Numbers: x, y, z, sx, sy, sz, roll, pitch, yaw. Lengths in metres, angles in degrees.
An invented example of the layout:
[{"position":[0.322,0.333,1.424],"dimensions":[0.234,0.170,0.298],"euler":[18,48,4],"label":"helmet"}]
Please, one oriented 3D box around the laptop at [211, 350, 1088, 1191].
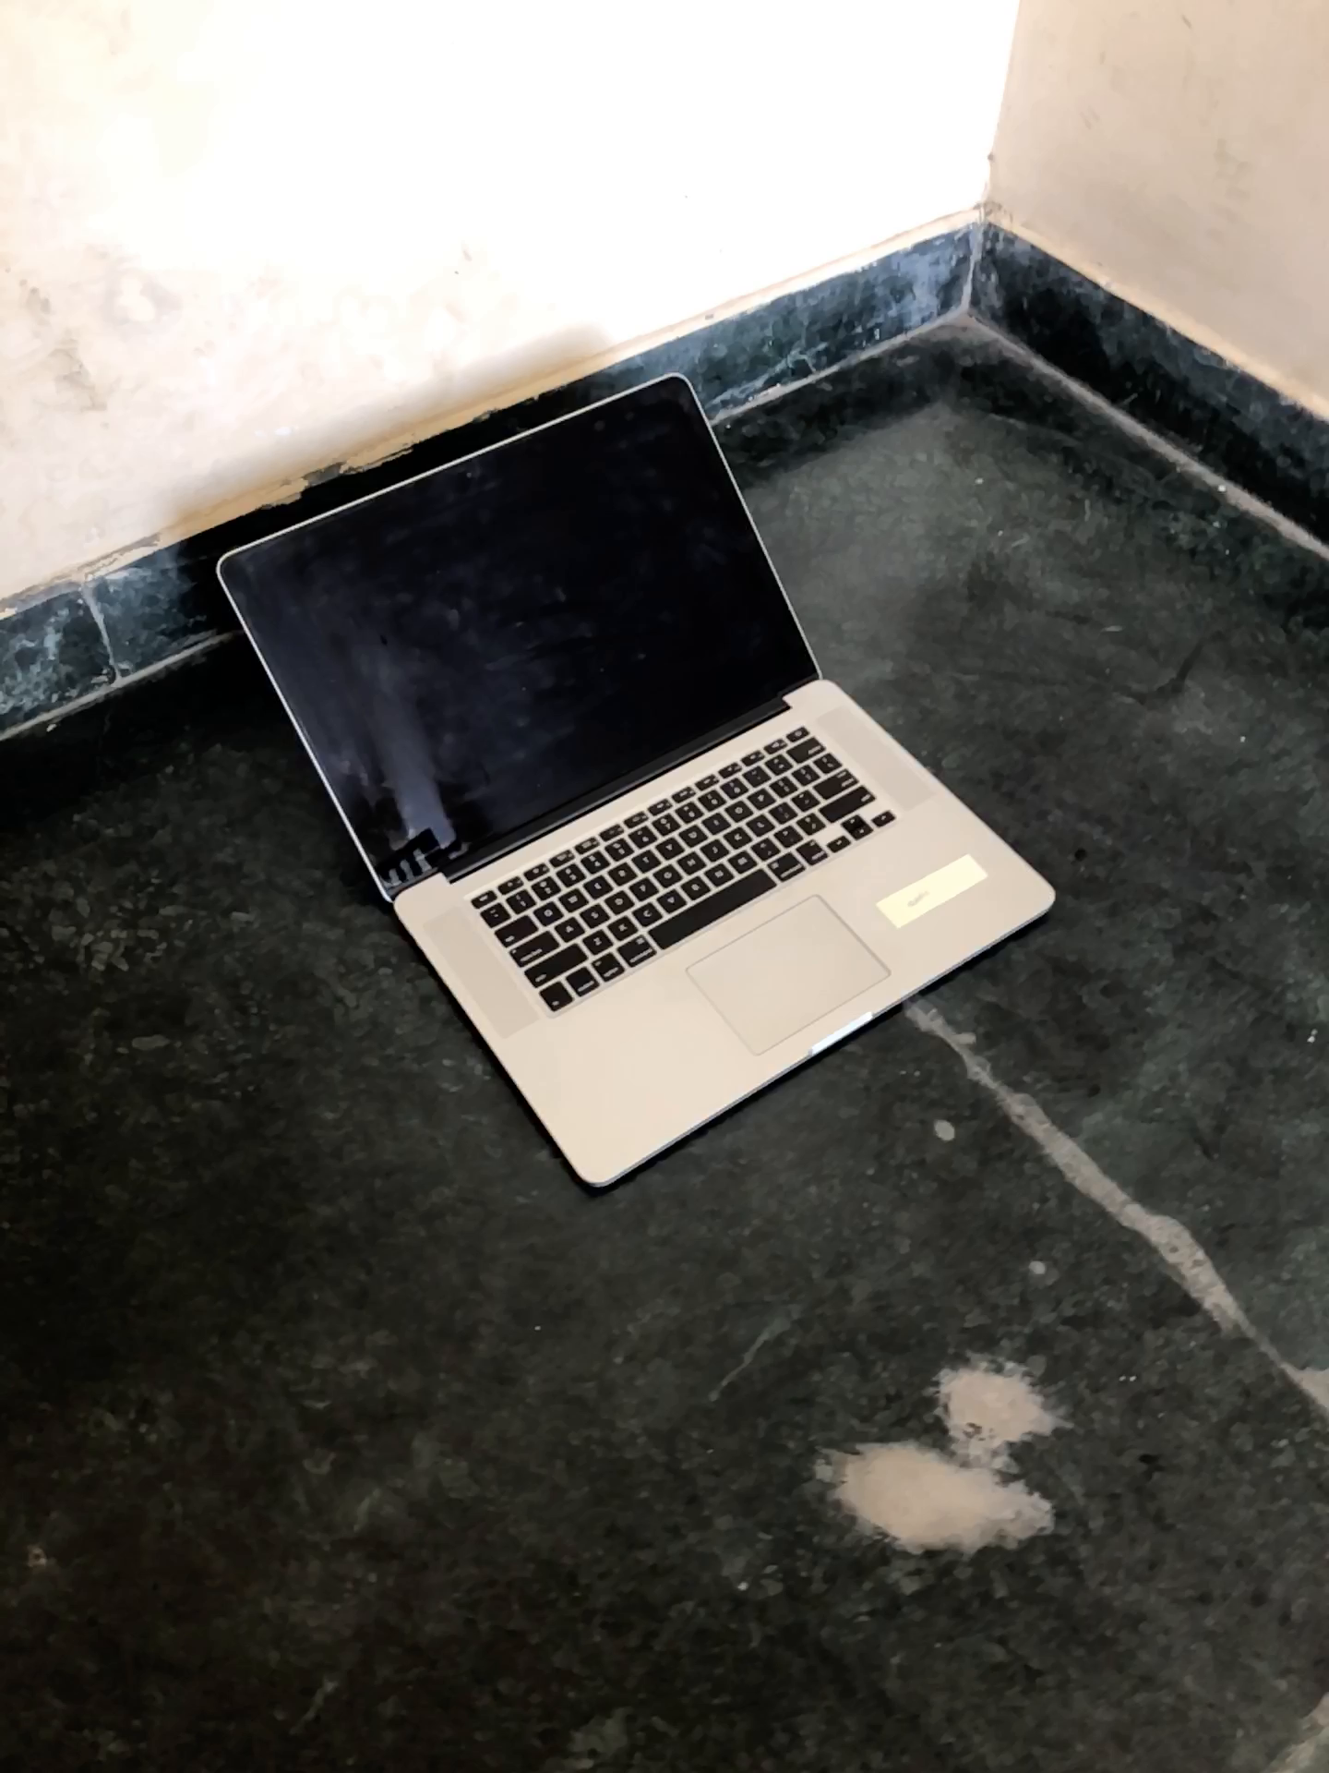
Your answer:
[{"position":[-0.019,-0.104,0.914],"dimensions":[0.343,0.130,0.434],"euler":[-29,61,-21],"label":"laptop"}]
